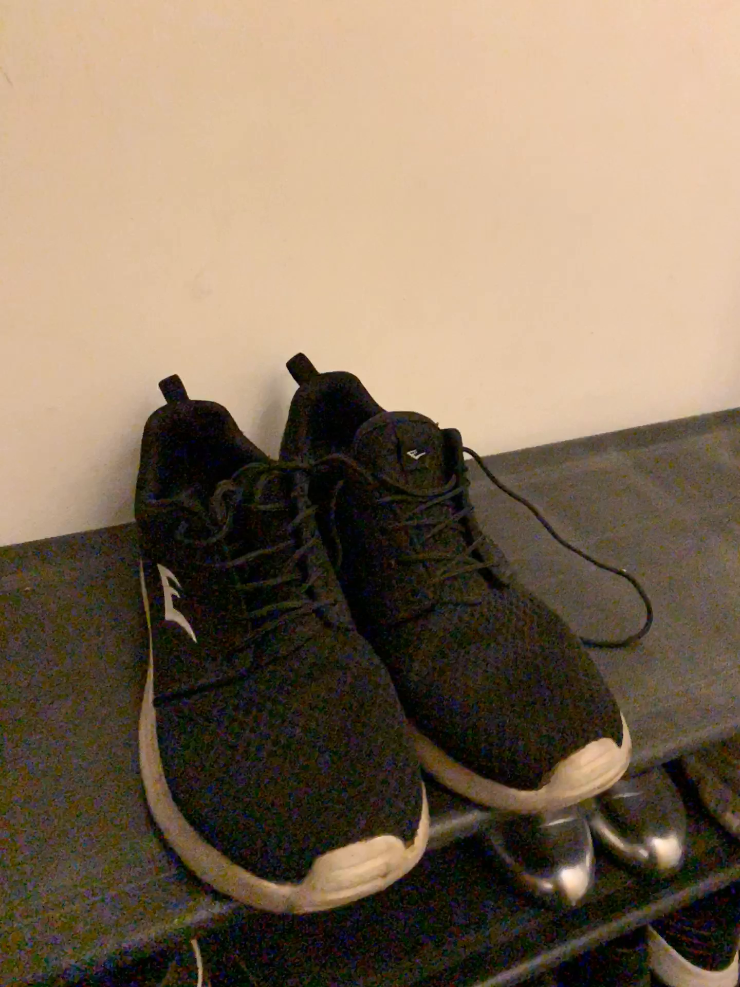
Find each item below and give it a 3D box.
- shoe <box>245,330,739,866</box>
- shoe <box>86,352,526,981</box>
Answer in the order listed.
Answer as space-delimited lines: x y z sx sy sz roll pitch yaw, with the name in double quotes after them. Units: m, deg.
0.036 0.016 0.408 0.120 0.099 0.302 -11 34 -21 "shoe"
-0.059 0.038 0.369 0.110 0.099 0.302 -10 34 -20 "shoe"
